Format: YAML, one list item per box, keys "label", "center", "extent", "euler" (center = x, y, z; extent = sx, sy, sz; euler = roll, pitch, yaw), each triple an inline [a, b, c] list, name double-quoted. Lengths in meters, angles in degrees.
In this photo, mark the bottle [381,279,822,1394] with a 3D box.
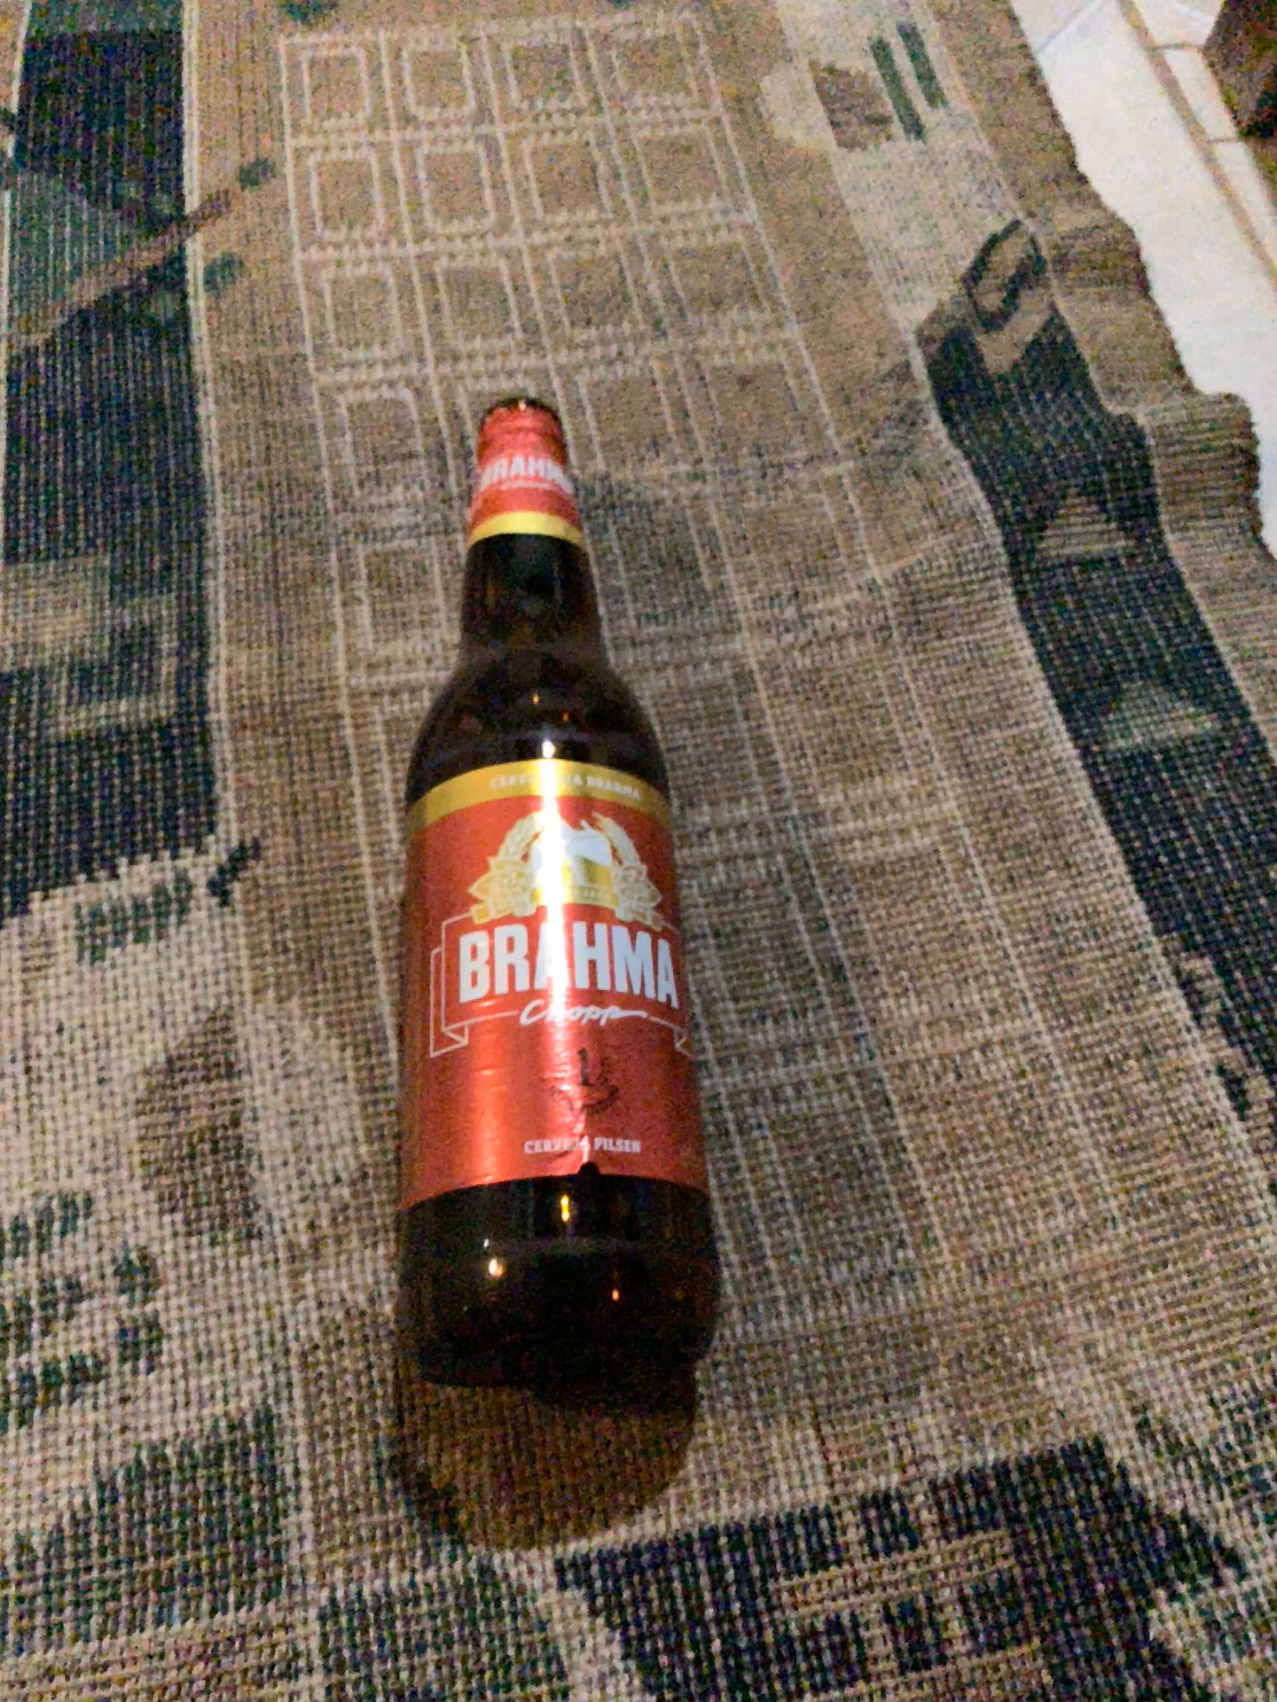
- label: "bottle"
  center: [-0.020, -0.021, 0.331]
  extent: [0.080, 0.060, 0.281]
  euler: [0, 61, -9]
